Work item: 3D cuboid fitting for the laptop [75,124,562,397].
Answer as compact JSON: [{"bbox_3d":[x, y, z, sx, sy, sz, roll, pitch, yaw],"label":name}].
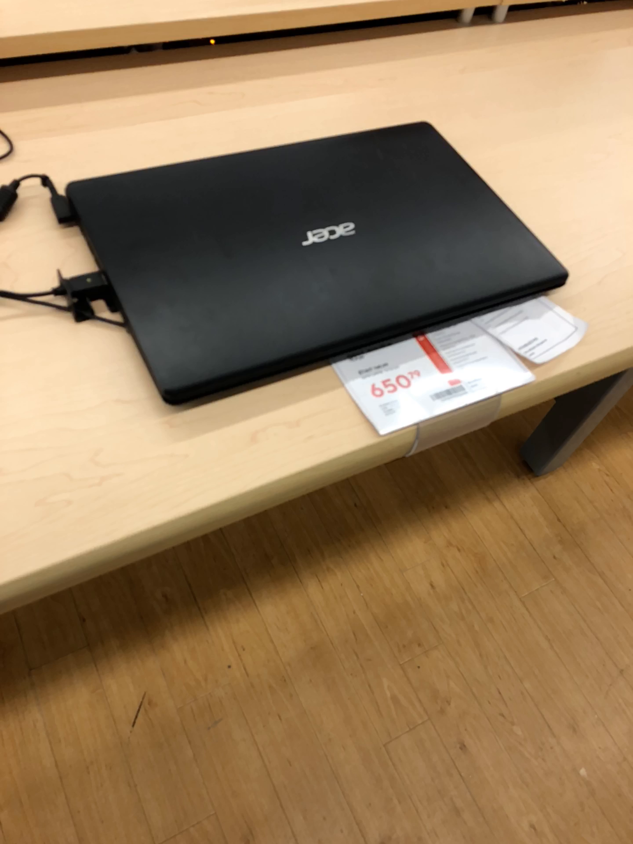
[{"bbox_3d":[0.010,-0.154,0.558,0.347,0.003,0.212,-20,62,-24],"label":"laptop"}]
